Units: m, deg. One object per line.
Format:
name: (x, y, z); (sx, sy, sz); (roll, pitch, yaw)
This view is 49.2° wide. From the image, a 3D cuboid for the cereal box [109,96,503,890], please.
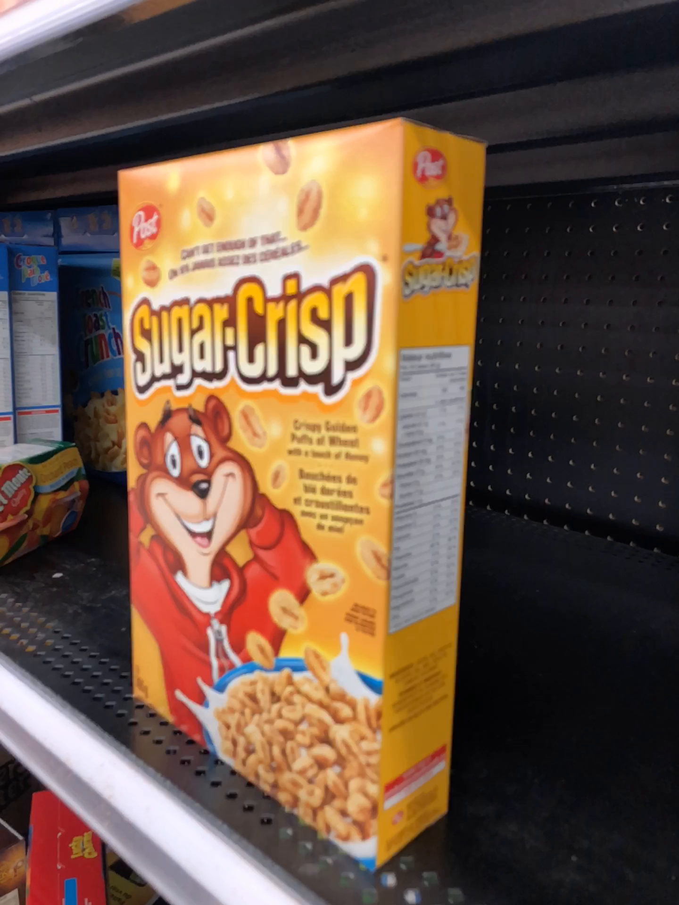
cereal box: (-0.032, 0.011, 0.369); (0.200, 0.309, 0.060); (12, 16, 43)
